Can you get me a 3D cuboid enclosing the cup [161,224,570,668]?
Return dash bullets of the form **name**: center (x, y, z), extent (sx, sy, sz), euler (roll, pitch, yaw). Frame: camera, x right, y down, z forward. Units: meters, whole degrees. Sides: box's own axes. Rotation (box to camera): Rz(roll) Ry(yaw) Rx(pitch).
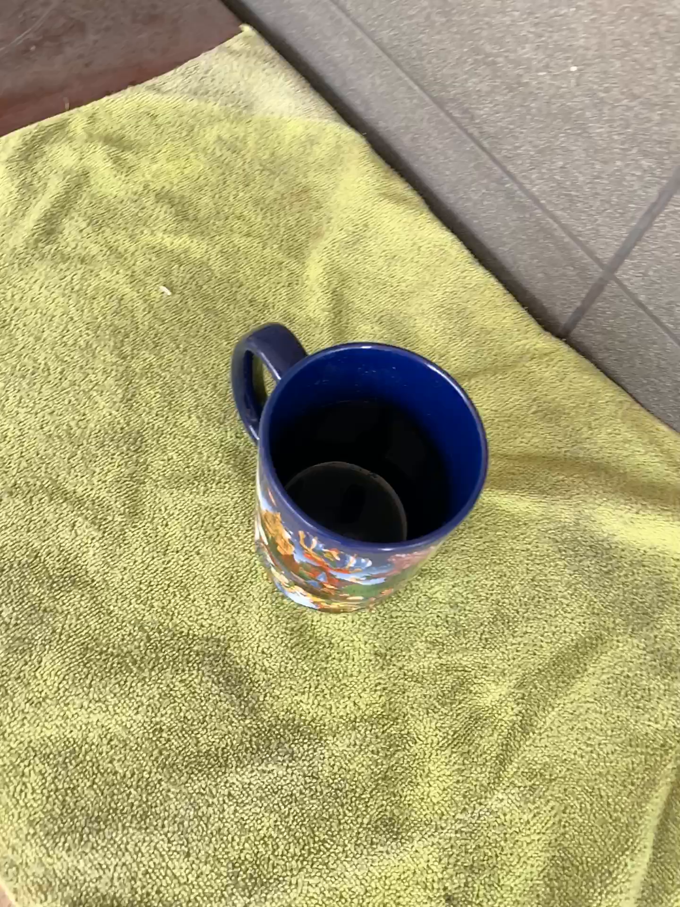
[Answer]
- **cup**: center (0.000, 0.002, 0.298), extent (0.090, 0.110, 0.130), euler (-29, 73, -20)
